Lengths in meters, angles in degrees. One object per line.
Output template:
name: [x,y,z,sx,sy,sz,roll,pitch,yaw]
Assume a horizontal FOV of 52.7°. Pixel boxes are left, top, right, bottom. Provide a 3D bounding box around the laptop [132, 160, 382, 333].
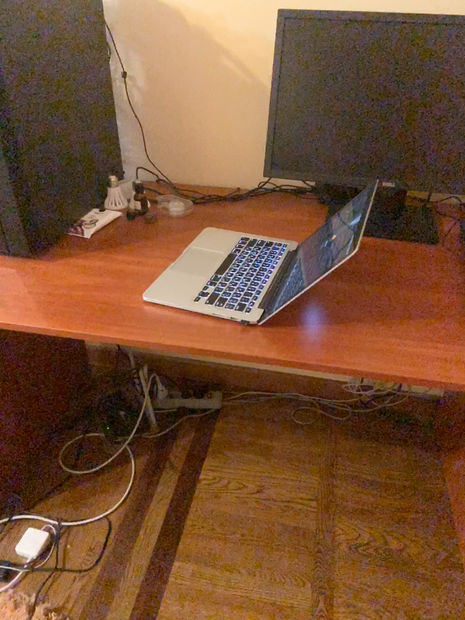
laptop: [0.056,-0.130,0.806,0.333,0.139,0.287,10,37,16]
